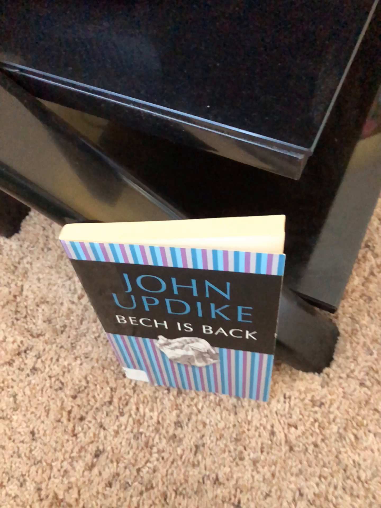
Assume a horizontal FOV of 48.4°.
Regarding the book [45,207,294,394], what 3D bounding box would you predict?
[{"bbox_3d":[-0.001,0.047,0.312,0.135,0.201,0.030,3,54,11],"label":"book"}]
